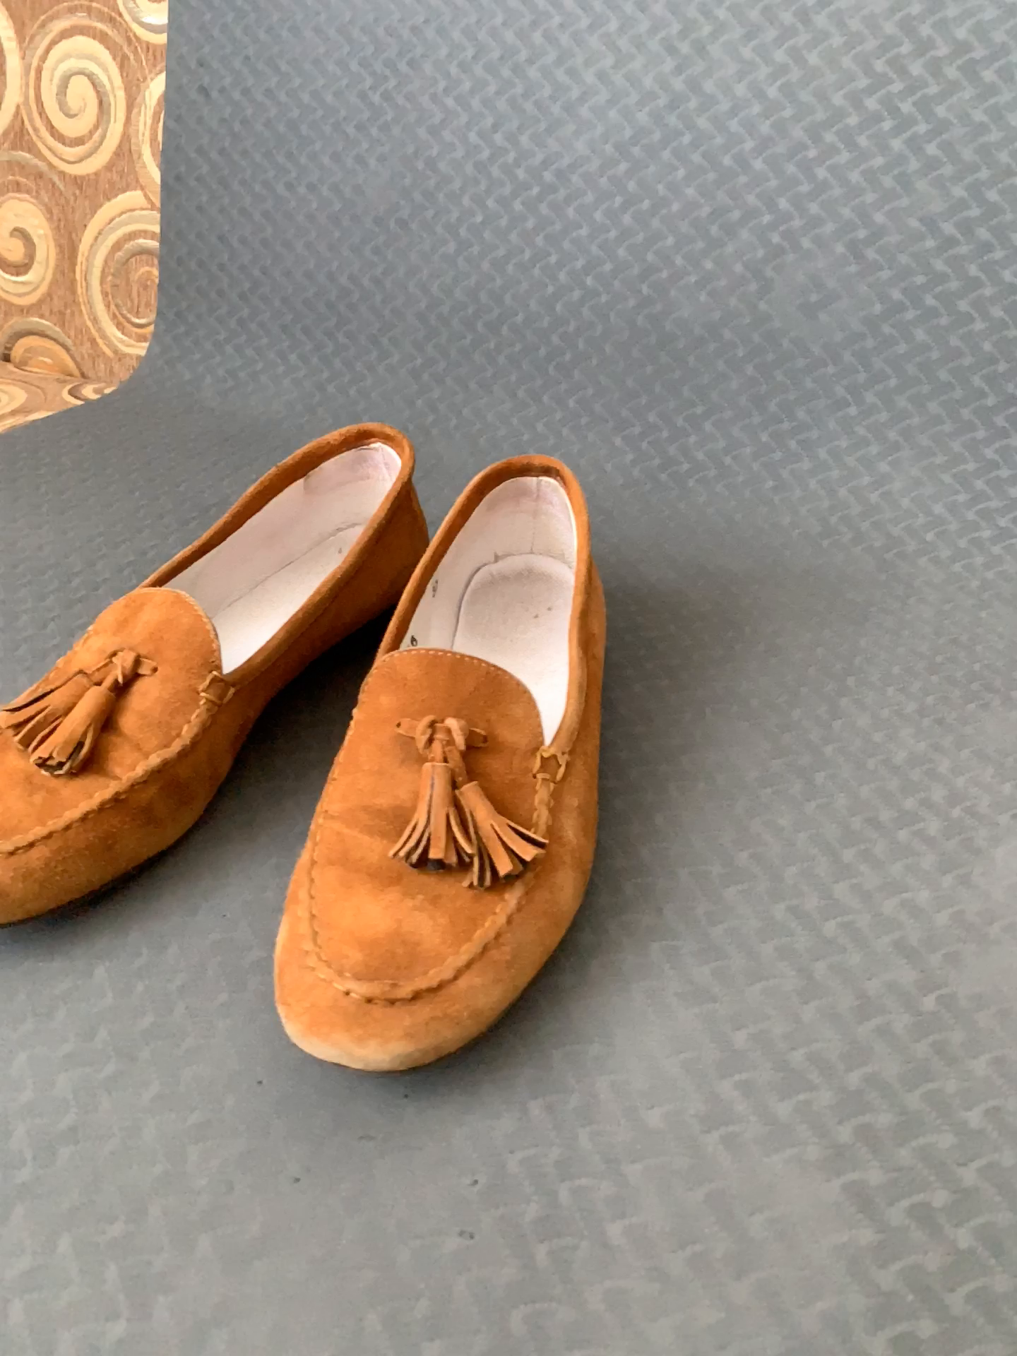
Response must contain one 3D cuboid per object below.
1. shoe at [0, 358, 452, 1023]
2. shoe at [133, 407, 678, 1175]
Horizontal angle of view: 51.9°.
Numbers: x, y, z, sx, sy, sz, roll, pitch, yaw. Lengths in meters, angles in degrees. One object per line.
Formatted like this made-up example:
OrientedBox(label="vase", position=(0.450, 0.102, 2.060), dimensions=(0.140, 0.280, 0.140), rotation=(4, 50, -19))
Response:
OrientedBox(label="shoe", position=(-0.123, -0.015, 0.362), dimensions=(0.090, 0.090, 0.231), rotation=(22, 46, 24))
OrientedBox(label="shoe", position=(-0.010, 0.012, 0.341), dimensions=(0.090, 0.090, 0.241), rotation=(9, 42, 11))
